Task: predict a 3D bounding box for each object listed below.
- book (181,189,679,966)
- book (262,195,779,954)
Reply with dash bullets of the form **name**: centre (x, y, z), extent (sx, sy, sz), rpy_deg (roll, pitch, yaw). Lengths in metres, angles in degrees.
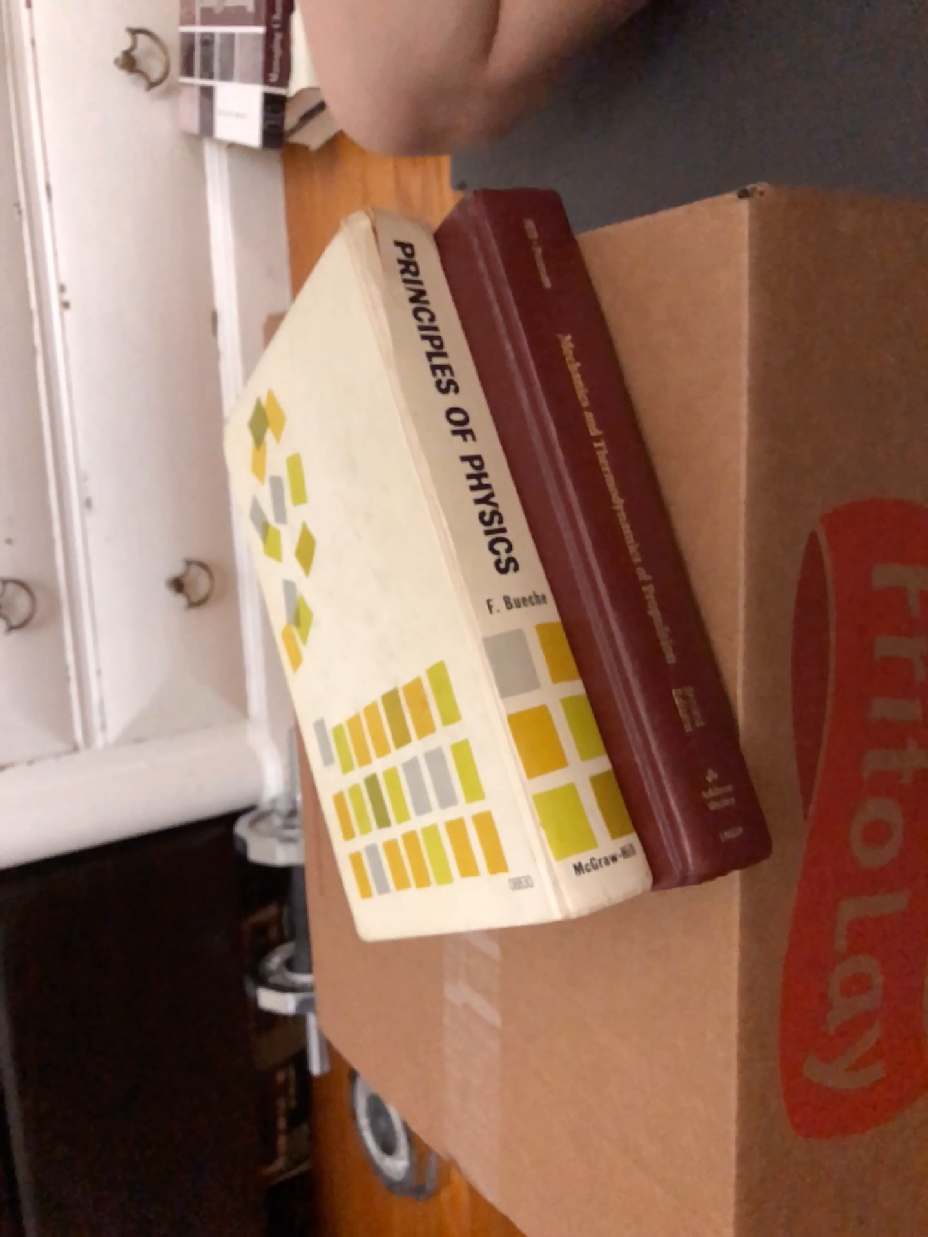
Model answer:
- **book**: centre (-0.033, 0.001, 0.402), extent (0.181, 0.040, 0.250), rpy_deg (-32, 73, 54)
- **book**: centre (0.002, 0.000, 0.407), extent (0.181, 0.040, 0.250), rpy_deg (-27, 77, 55)
